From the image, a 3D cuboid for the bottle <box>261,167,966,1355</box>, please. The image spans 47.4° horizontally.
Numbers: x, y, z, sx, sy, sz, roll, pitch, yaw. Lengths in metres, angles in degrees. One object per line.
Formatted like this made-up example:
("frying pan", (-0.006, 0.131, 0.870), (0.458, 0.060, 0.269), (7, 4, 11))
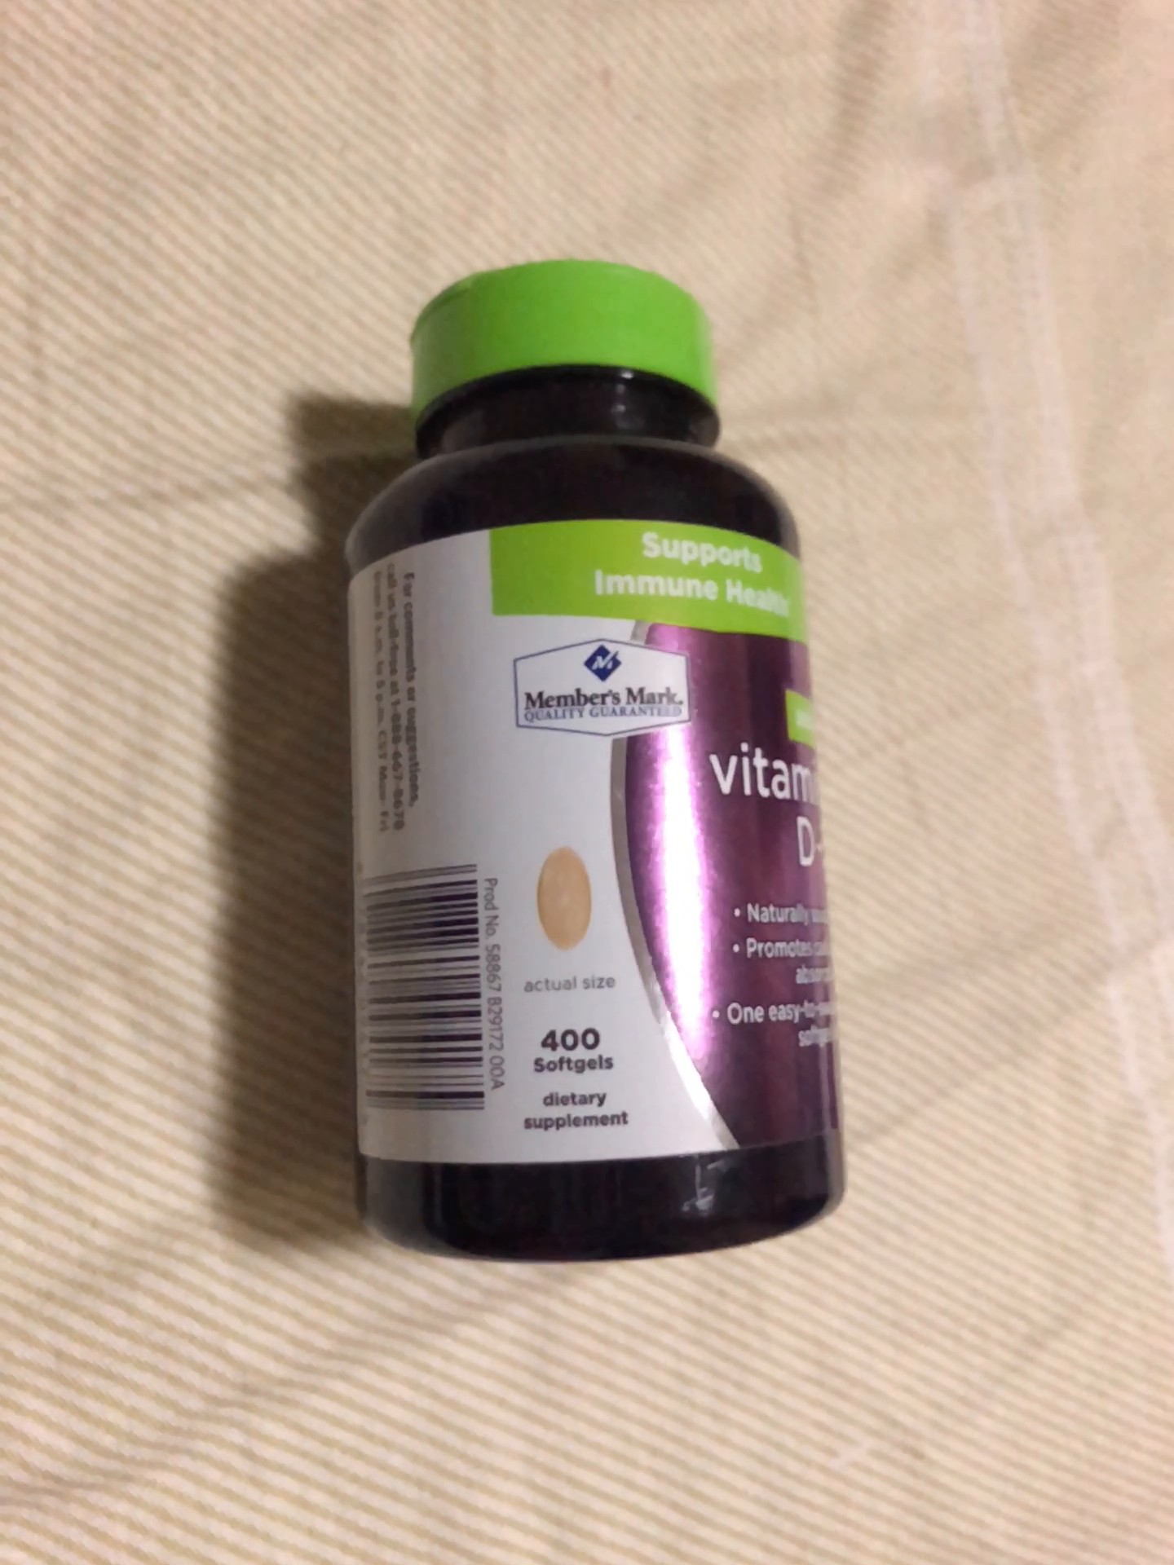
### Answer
("bottle", (-0.001, 0.000, 0.164), (0.060, 0.060, 0.110), (2, 83, -31))
